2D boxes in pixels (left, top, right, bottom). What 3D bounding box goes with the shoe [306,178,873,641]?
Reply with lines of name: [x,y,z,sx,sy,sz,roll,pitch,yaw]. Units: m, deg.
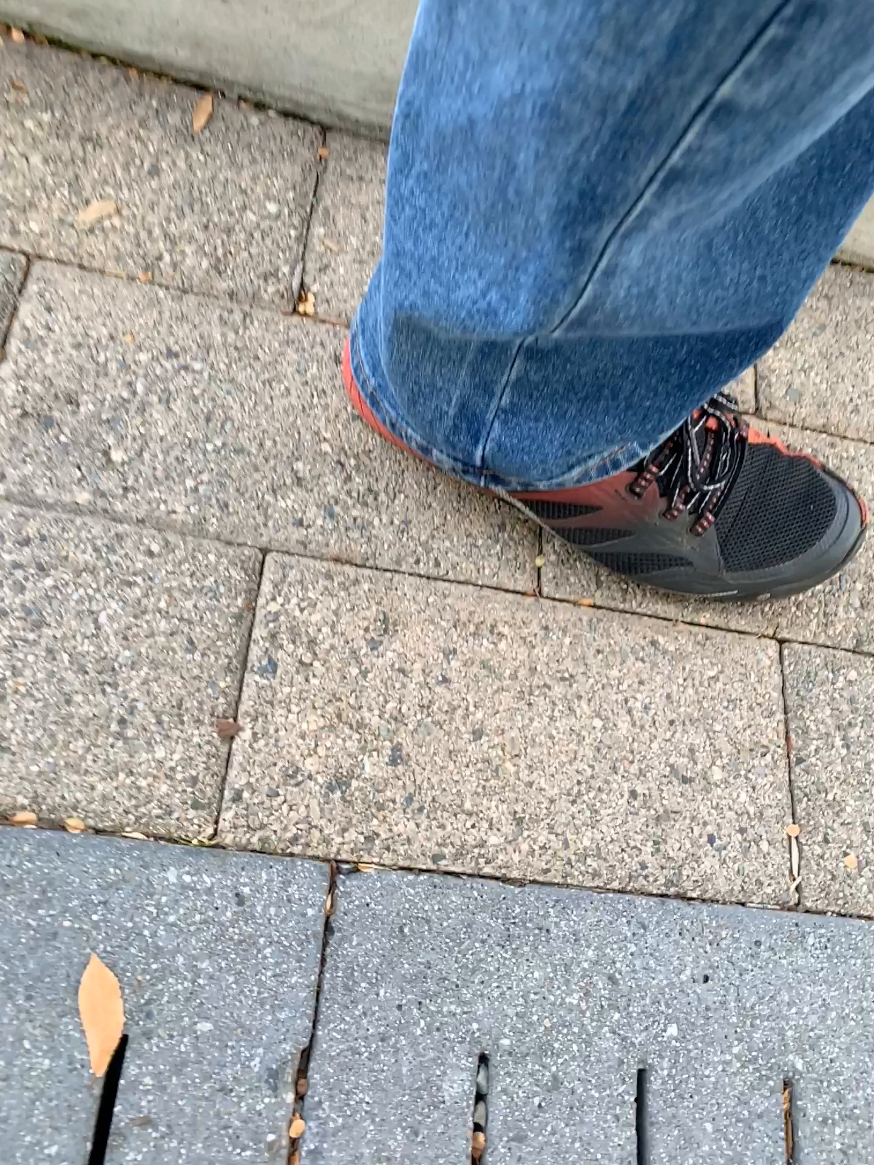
shoe: [0.101,-0.085,0.477,0.306,0.080,0.137,16,65,-8]
